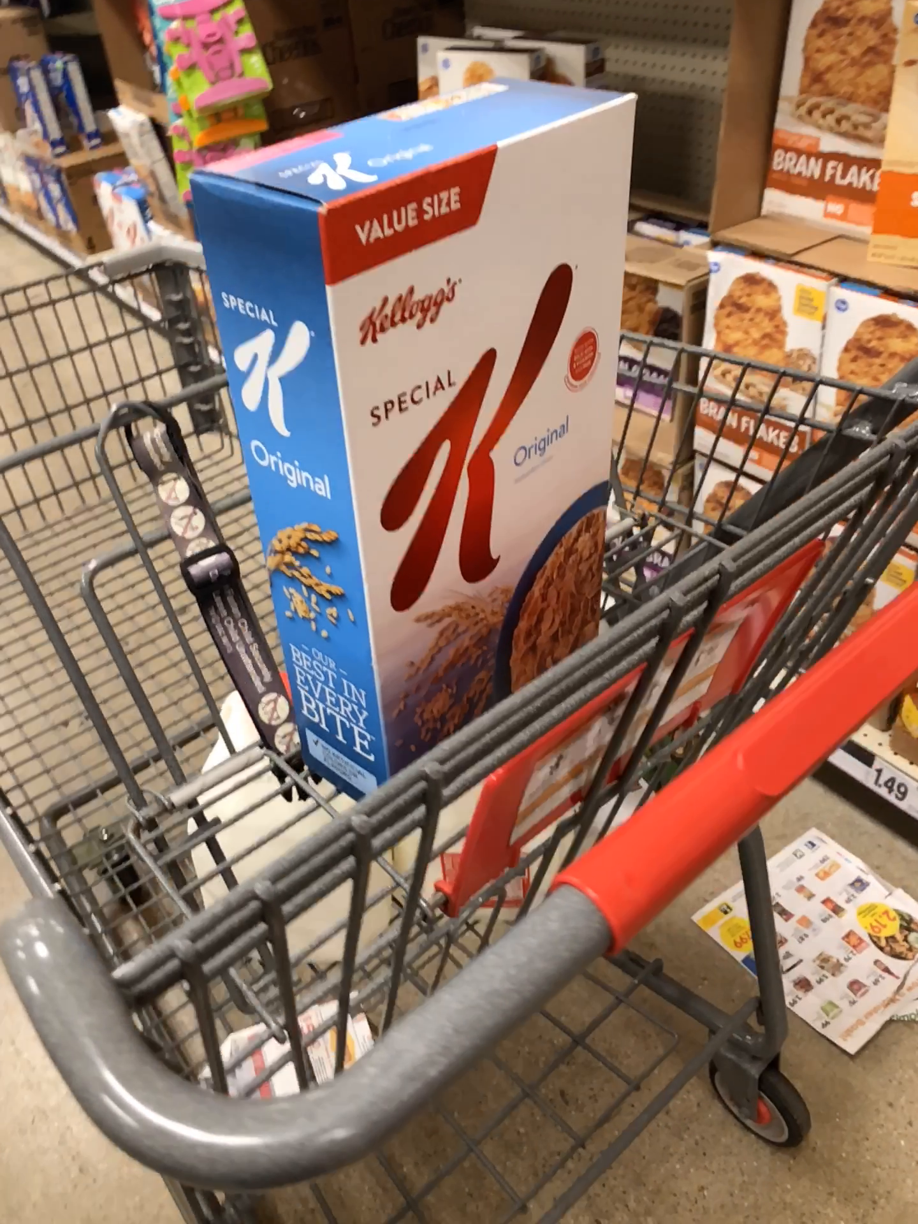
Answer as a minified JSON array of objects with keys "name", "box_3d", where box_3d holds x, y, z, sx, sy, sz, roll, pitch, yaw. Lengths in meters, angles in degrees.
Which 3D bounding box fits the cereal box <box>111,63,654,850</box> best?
[{"name":"cereal box","box_3d":[-0.012,-0.072,0.522,0.080,0.329,0.230,30,50,35]}]
